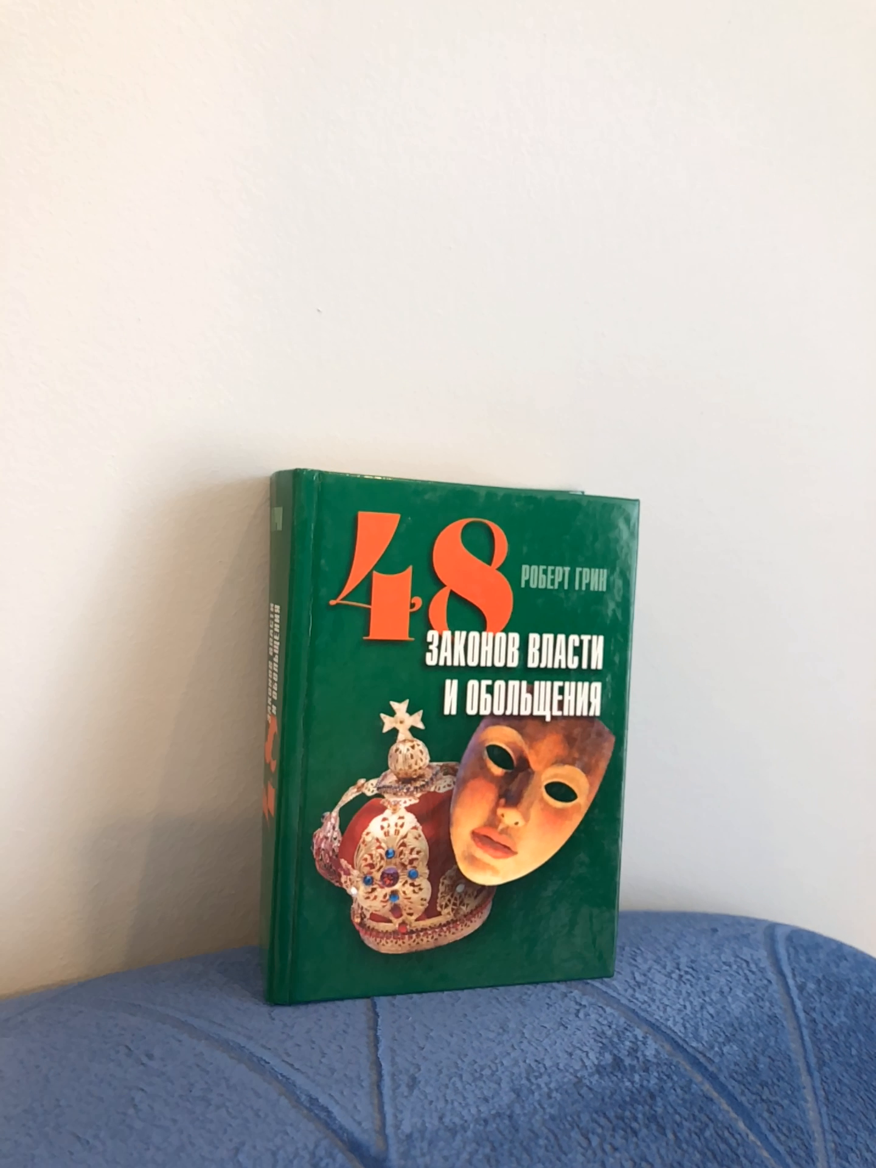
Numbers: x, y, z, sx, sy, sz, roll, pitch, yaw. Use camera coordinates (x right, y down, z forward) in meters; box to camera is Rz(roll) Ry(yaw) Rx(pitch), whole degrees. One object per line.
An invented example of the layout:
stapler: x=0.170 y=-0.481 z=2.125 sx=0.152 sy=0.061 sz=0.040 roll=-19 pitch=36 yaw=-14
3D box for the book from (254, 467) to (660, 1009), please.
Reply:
book: x=0.003 y=0.040 z=0.290 sx=0.106 sy=0.141 sz=0.050 roll=2 pitch=2 yaw=-14
